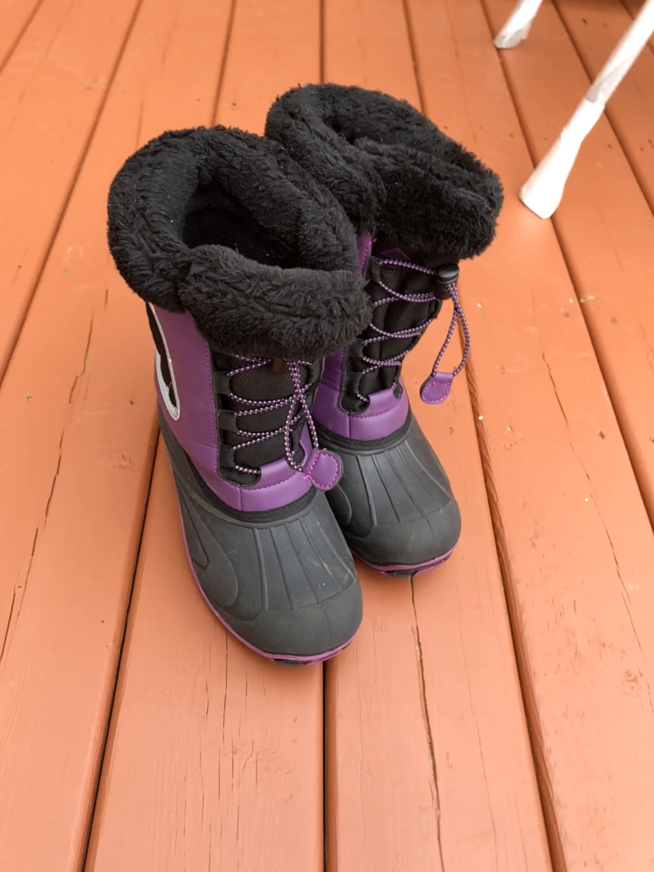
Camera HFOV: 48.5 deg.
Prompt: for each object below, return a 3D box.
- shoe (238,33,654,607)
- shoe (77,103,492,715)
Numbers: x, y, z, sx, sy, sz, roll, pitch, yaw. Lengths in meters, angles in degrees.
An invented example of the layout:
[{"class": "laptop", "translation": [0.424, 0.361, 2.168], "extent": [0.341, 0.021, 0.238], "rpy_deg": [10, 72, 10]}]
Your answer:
[{"class": "shoe", "translation": [0.045, -0.069, 0.495], "extent": [0.120, 0.279, 0.240], "rpy_deg": [-18, 57, -21]}, {"class": "shoe", "translation": [-0.049, -0.007, 0.455], "extent": [0.120, 0.279, 0.241], "rpy_deg": [-15, 55, -19]}]
